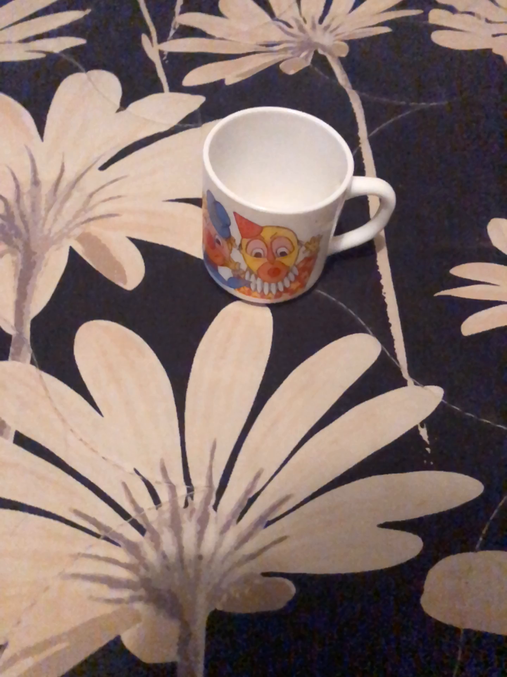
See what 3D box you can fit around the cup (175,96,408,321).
[{"bbox_3d":[0.022,-0.071,0.314,0.108,0.077,0.085,6,57,4],"label":"cup"}]
